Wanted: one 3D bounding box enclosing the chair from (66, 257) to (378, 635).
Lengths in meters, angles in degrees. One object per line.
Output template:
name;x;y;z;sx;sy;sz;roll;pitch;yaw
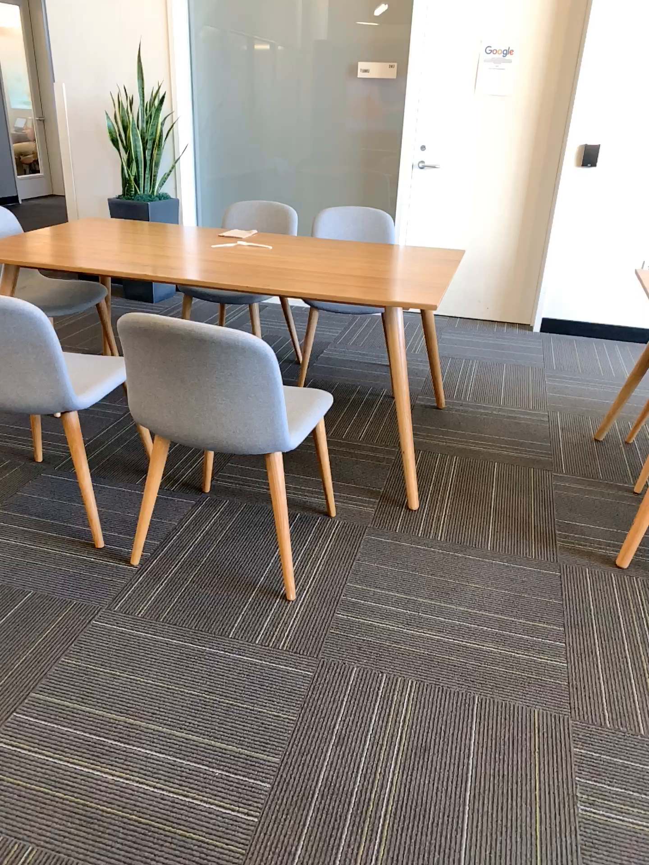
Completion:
chair;-0.238;-0.006;1.853;0.591;0.795;0.573;10;27;15

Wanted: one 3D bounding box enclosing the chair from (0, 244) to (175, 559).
chair;-0.872;-0.127;2.090;0.570;0.776;0.533;9;26;12
